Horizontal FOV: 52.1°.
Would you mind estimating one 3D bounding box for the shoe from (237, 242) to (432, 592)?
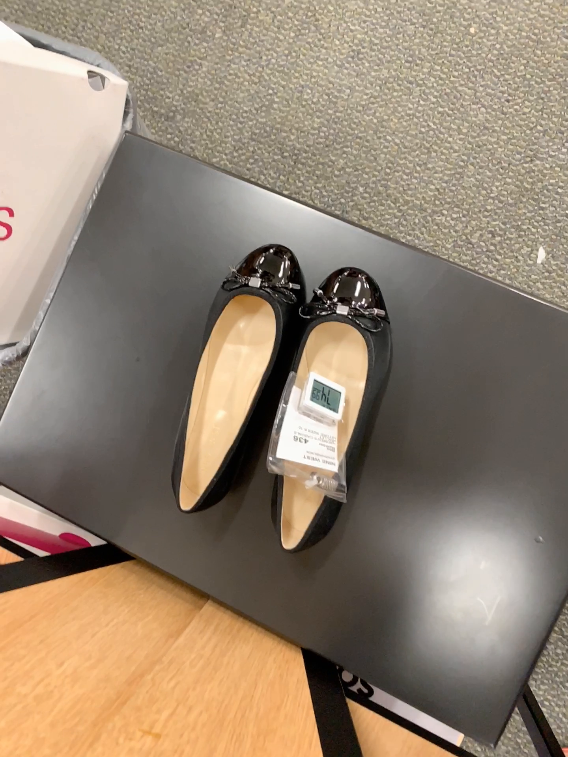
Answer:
[{"bbox_3d":[0.045,0.029,0.489,0.090,0.100,0.250,14,91,10],"label":"shoe"}]

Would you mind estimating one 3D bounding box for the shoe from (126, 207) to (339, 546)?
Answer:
[{"bbox_3d":[-0.038,-0.001,0.505,0.090,0.100,0.250,18,91,9],"label":"shoe"}]
